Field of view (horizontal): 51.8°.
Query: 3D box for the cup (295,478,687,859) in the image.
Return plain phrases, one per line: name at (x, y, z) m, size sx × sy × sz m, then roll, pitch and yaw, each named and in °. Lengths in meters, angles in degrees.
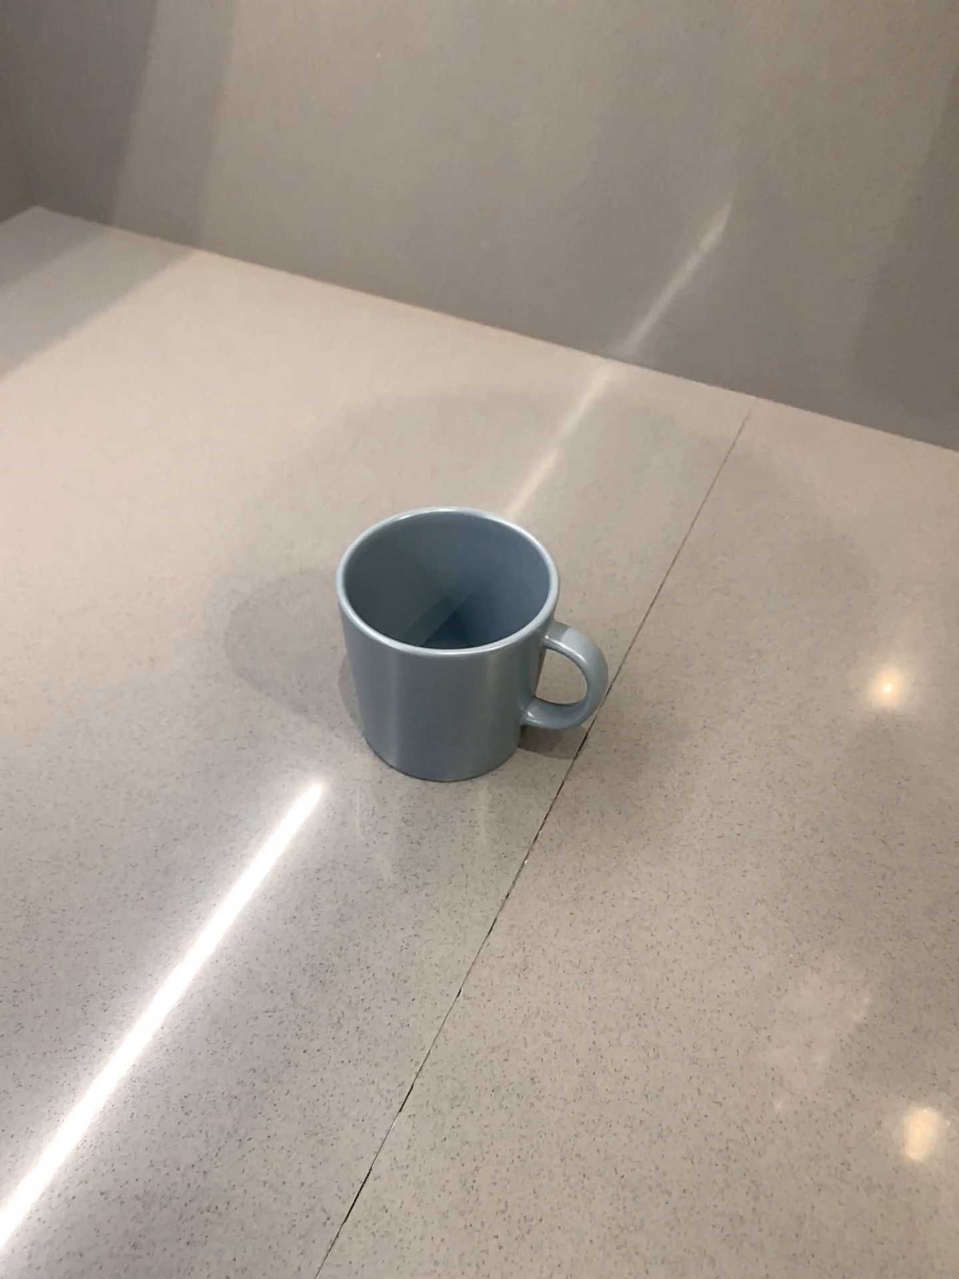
cup at (0.005, 0.010, 0.423) m, size 0.130 × 0.090 × 0.090 m, roll 19°, pitch 48°, yaw 15°
